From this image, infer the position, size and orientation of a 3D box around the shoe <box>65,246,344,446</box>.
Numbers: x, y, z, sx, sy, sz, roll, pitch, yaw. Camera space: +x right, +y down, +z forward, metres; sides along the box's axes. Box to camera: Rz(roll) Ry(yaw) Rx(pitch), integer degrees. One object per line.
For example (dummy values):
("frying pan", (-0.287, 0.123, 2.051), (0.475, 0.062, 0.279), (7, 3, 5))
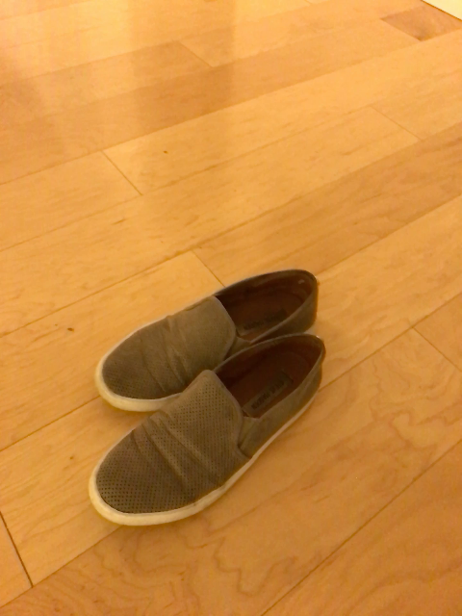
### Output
("shoe", (-0.024, 0.032, 0.562), (0.281, 0.060, 0.110), (-23, 57, -21))

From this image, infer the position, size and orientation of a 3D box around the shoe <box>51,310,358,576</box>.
("shoe", (-0.016, 0.116, 0.497), (0.281, 0.050, 0.110), (-30, 60, -25))
